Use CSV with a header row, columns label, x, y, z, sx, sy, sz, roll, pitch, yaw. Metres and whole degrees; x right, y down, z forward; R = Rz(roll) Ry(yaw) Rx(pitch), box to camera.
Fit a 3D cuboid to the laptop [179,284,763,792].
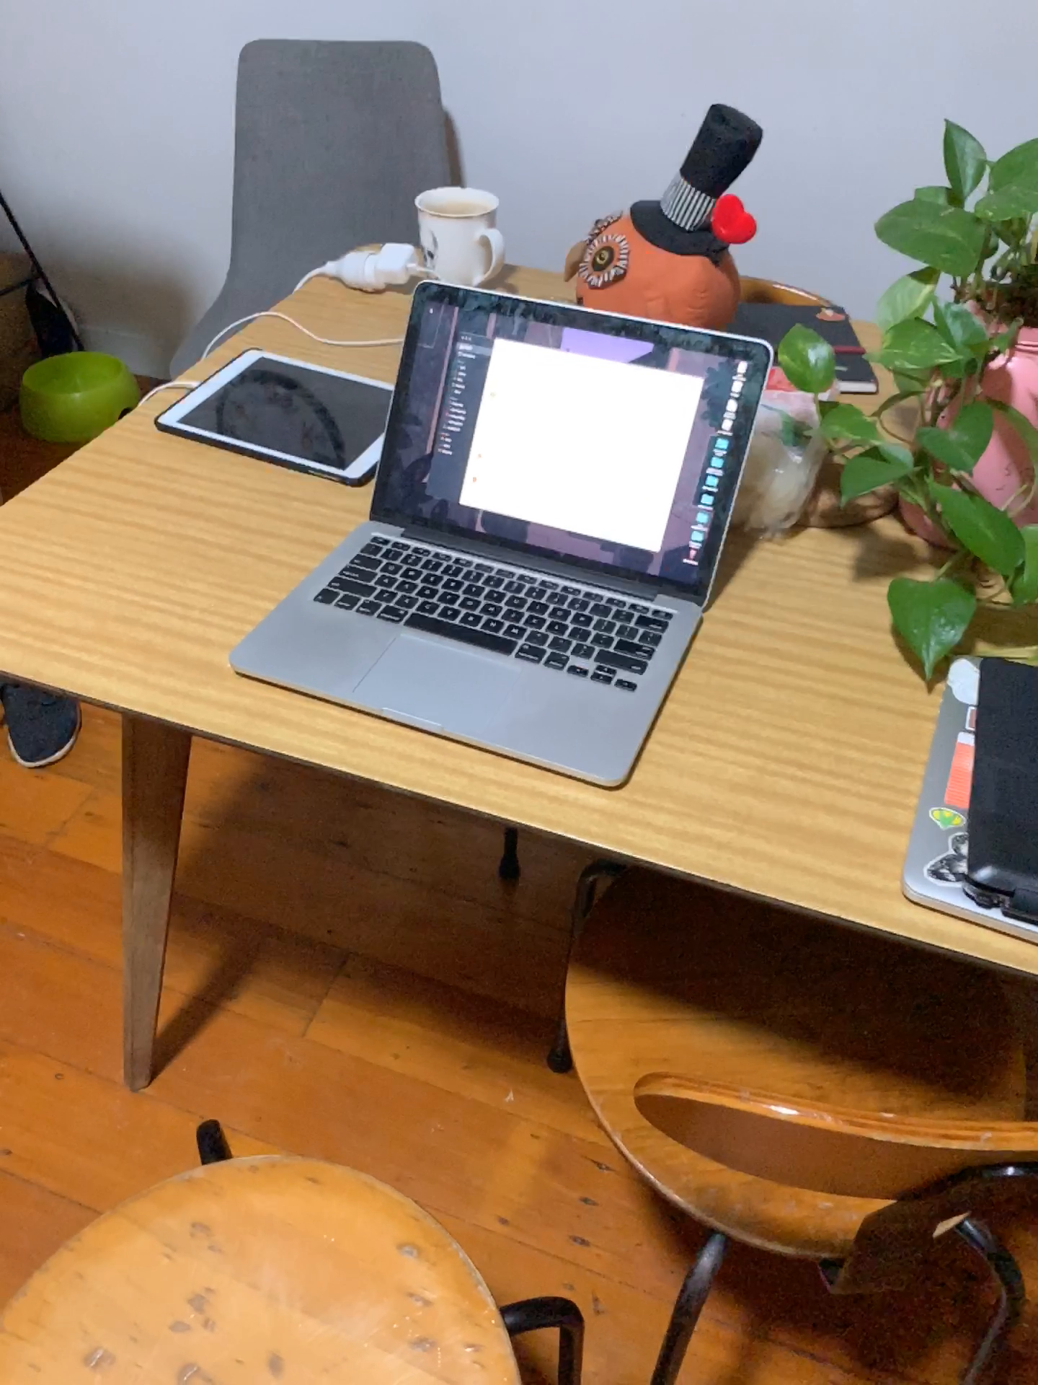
label,x,y,z,sx,sy,sz,roll,pitch,yaw
laptop,-0.013,-0.123,0.685,0.263,0.144,0.288,16,43,17
